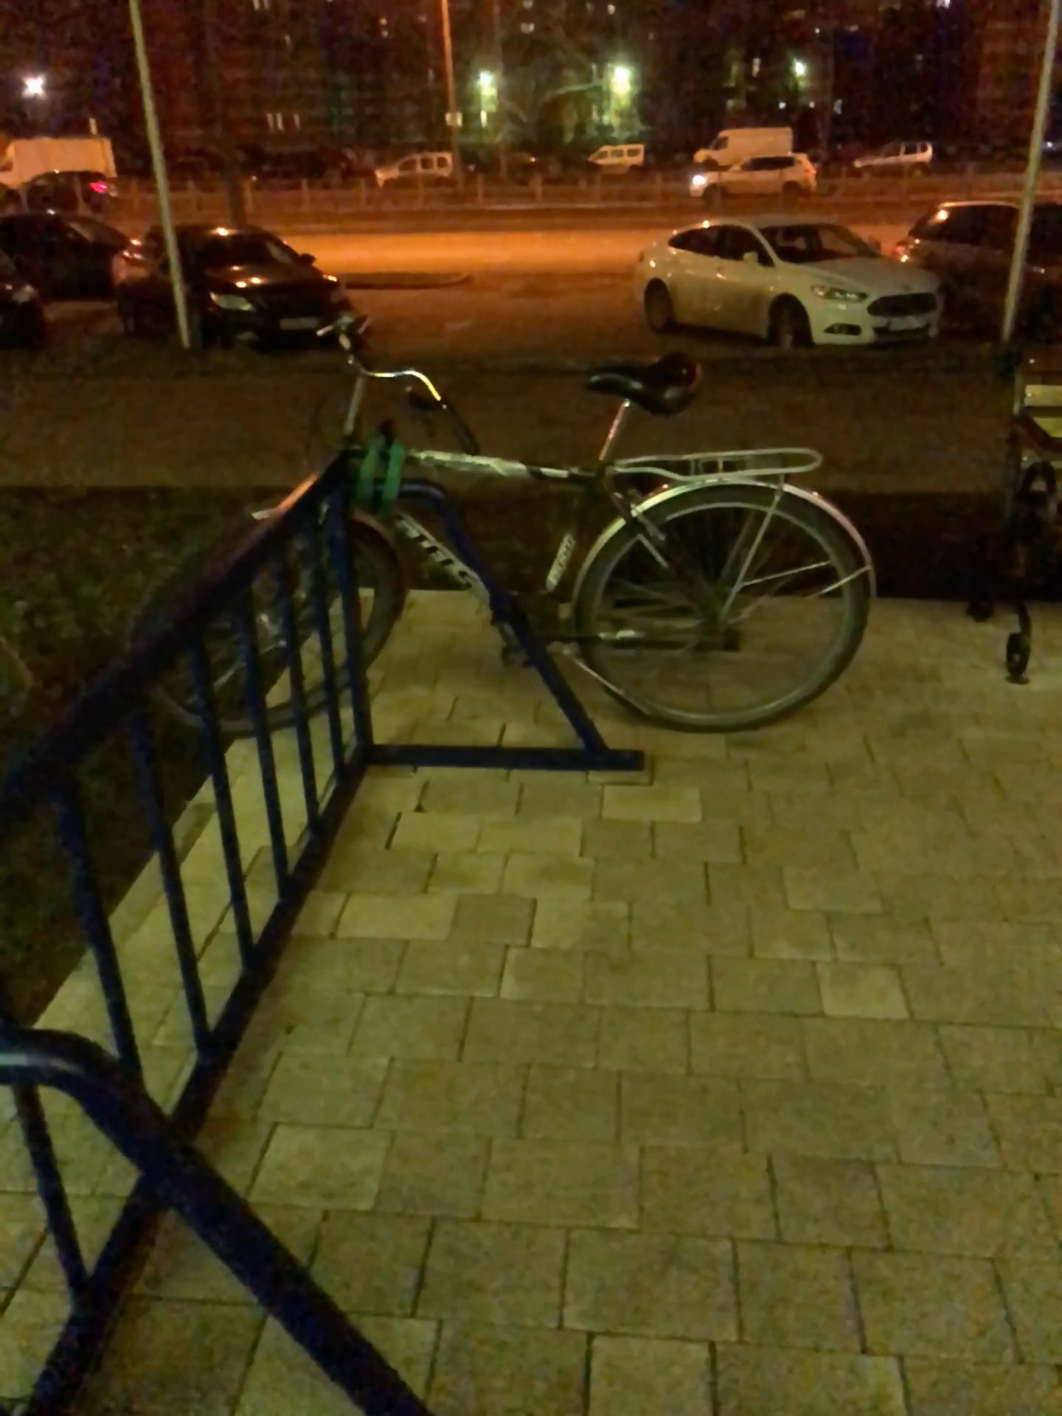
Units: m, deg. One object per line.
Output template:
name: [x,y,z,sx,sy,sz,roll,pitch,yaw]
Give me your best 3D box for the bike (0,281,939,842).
bike: [-0.066,-0.340,2.602,1.716,1.046,0.683,-1,26,-5]
